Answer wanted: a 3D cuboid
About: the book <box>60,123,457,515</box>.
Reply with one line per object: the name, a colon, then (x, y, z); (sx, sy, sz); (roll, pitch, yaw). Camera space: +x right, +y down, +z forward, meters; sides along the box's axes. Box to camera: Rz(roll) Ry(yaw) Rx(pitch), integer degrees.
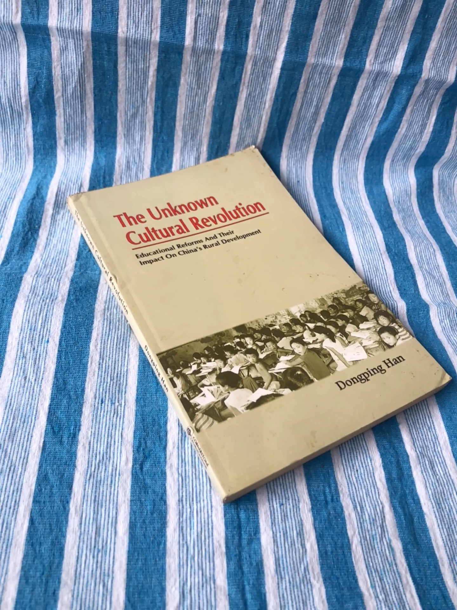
book: (0.007, -0.022, 0.292); (0.140, 0.020, 0.230); (-22, 54, -17)
